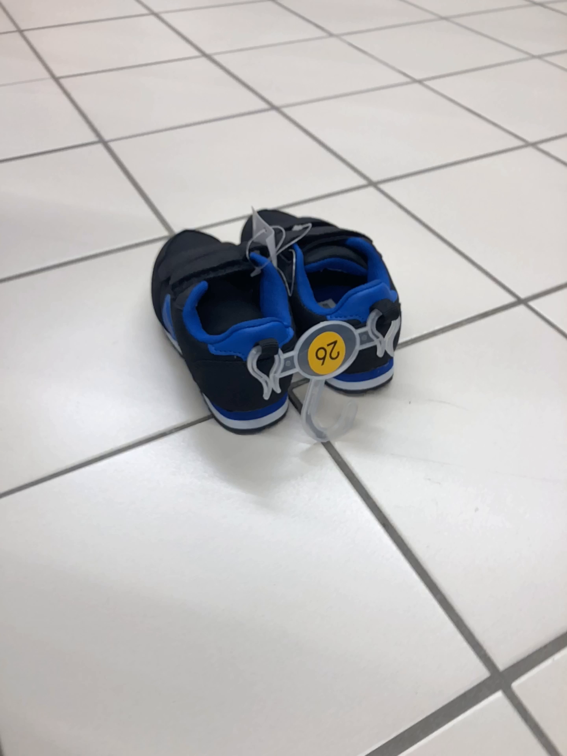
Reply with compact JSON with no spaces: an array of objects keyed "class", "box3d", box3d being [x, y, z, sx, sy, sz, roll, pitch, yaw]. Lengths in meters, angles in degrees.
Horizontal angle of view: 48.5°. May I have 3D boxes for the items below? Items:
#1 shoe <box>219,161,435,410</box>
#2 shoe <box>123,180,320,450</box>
[{"class":"shoe","box3d":[0.020,-0.072,0.430,0.067,0.073,0.175,-17,47,-18]},{"class":"shoe","box3d":[-0.046,-0.050,0.406,0.067,0.073,0.175,-15,47,-16]}]
